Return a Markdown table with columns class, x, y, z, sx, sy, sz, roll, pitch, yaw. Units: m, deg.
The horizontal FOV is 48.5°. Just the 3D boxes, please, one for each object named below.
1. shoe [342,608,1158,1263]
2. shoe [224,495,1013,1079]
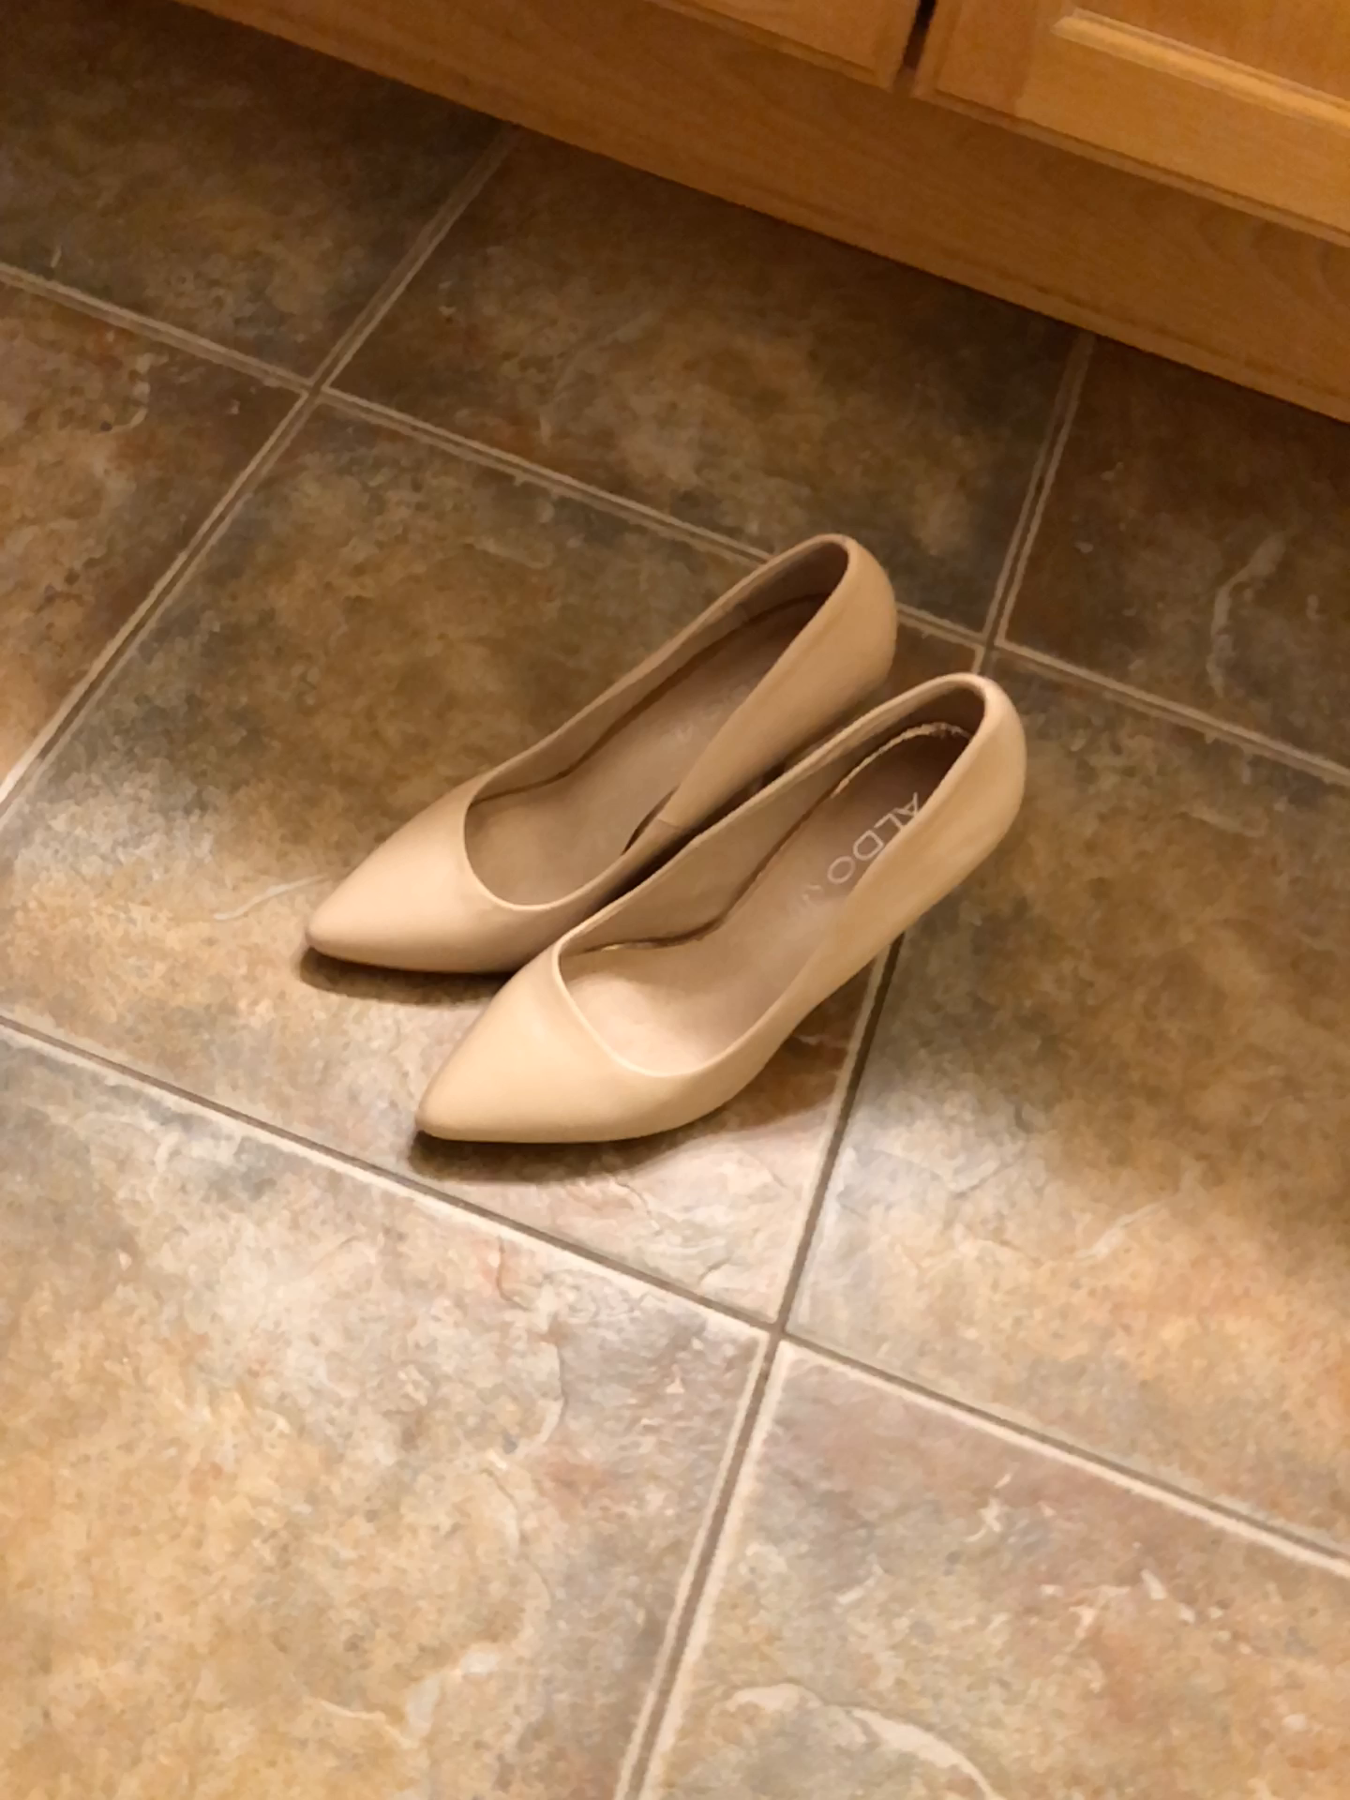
| class | x | y | z | sx | sy | sz | roll | pitch | yaw |
| --- | --- | --- | --- | --- | --- | --- | --- | --- | --- |
| shoe | 0.019 | 0.010 | 0.483 | 0.230 | 0.130 | 0.080 | -22 | 65 | -22 |
| shoe | -0.024 | -0.038 | 0.521 | 0.230 | 0.150 | 0.080 | -16 | 63 | -19 |
